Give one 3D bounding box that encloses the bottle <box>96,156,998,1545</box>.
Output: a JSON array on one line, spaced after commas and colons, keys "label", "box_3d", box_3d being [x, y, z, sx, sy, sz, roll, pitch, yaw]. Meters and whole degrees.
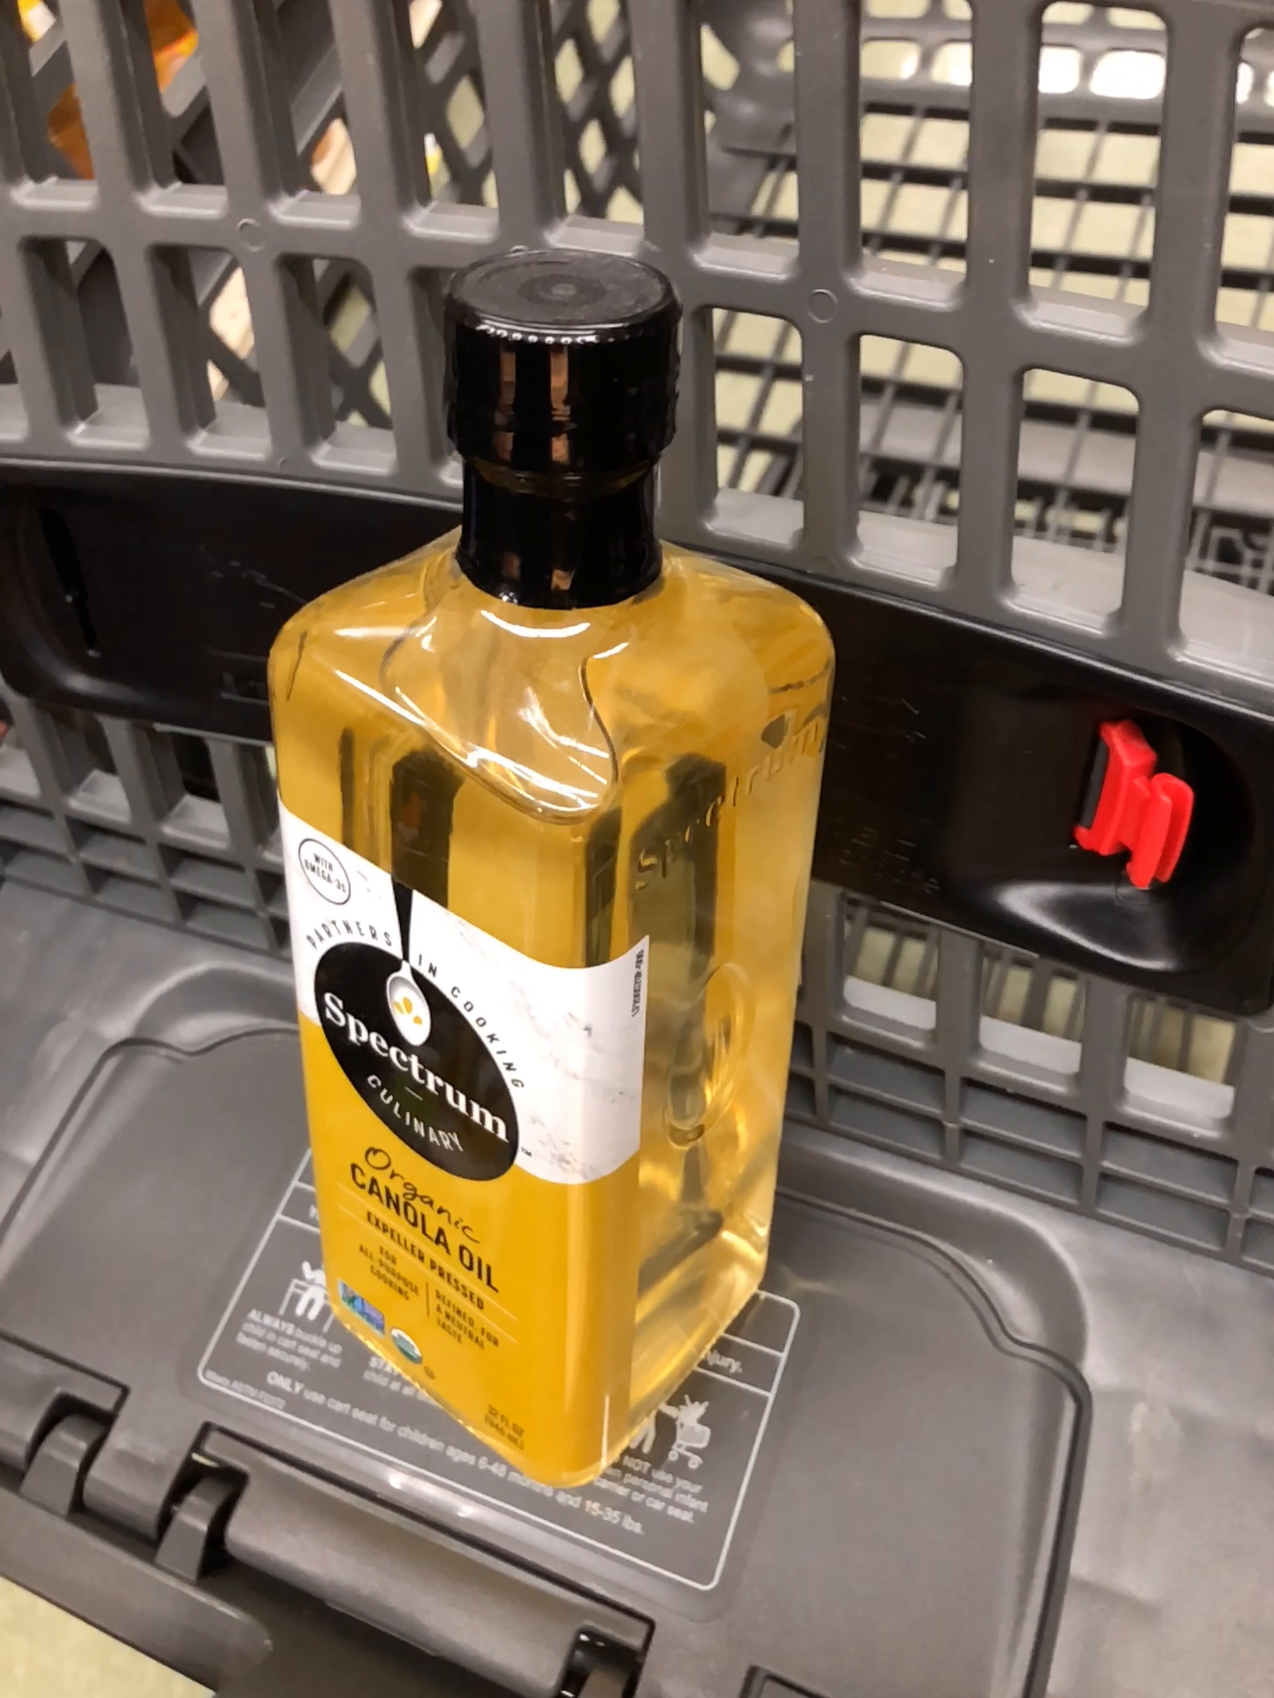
[{"label": "bottle", "box_3d": [-0.016, 0.015, 0.280, 0.090, 0.250, 0.090, 2, 39, -1]}]
